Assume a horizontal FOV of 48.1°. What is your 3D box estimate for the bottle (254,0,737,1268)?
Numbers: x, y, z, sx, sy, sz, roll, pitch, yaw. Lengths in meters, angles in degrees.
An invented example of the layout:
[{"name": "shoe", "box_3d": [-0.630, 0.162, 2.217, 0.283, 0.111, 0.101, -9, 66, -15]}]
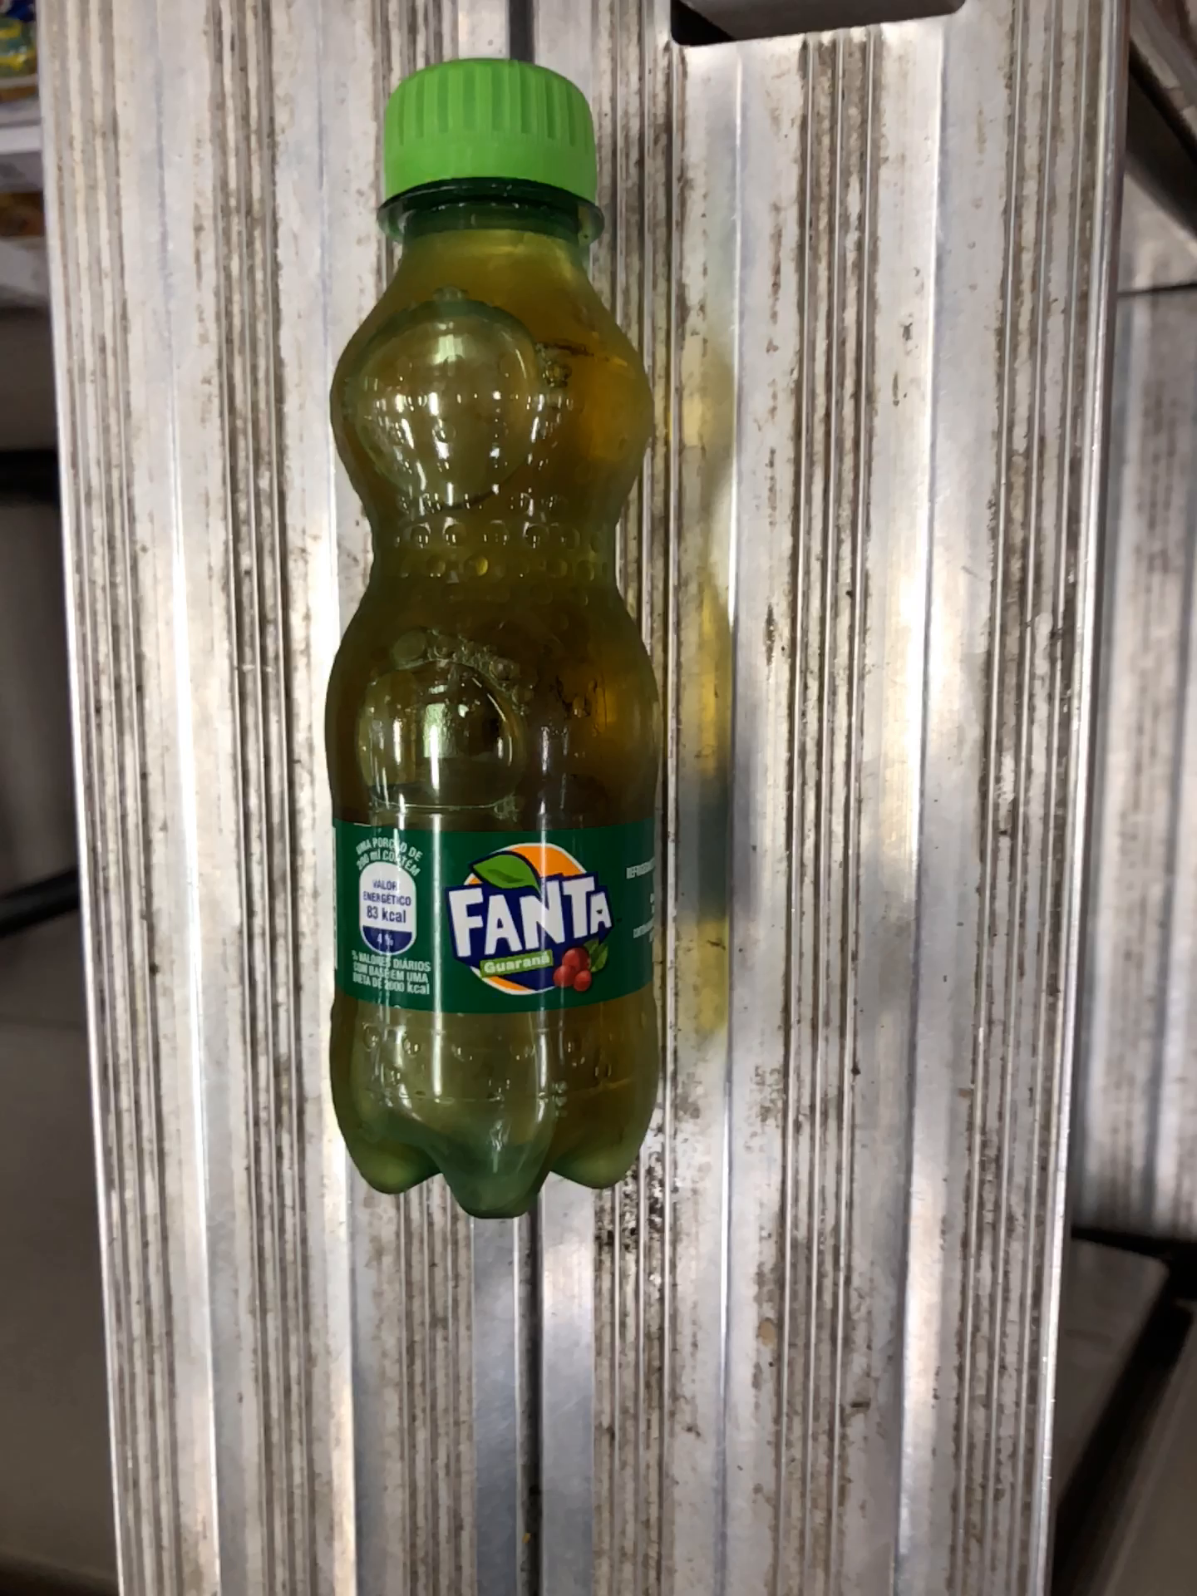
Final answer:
[{"name": "bottle", "box_3d": [-0.016, -0.029, 0.194, 0.050, 0.050, 0.170, 10, 101, 60]}]
